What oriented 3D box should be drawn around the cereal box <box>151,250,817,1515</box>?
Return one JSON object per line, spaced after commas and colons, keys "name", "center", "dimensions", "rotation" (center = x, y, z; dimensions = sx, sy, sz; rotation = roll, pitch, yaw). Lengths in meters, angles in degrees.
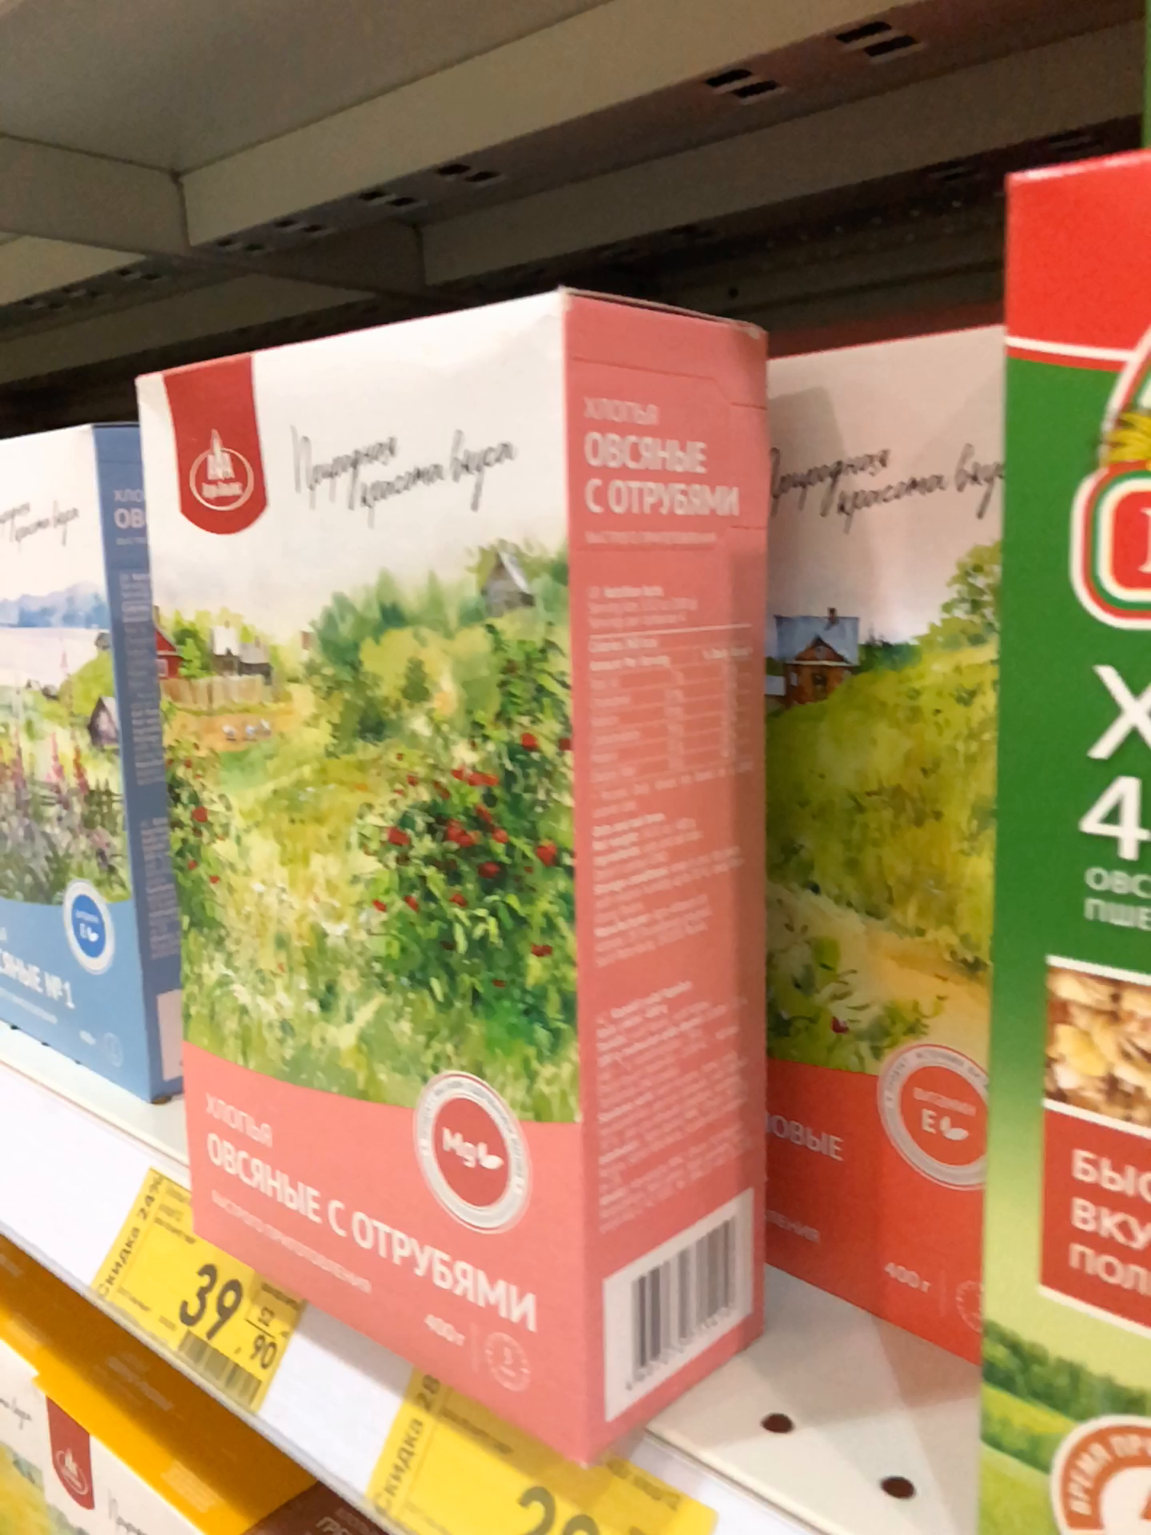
{"name": "cereal box", "center": [-0.023, 0.016, 0.271], "dimensions": [0.130, 0.209, 0.060], "rotation": [7, 11, 41]}
